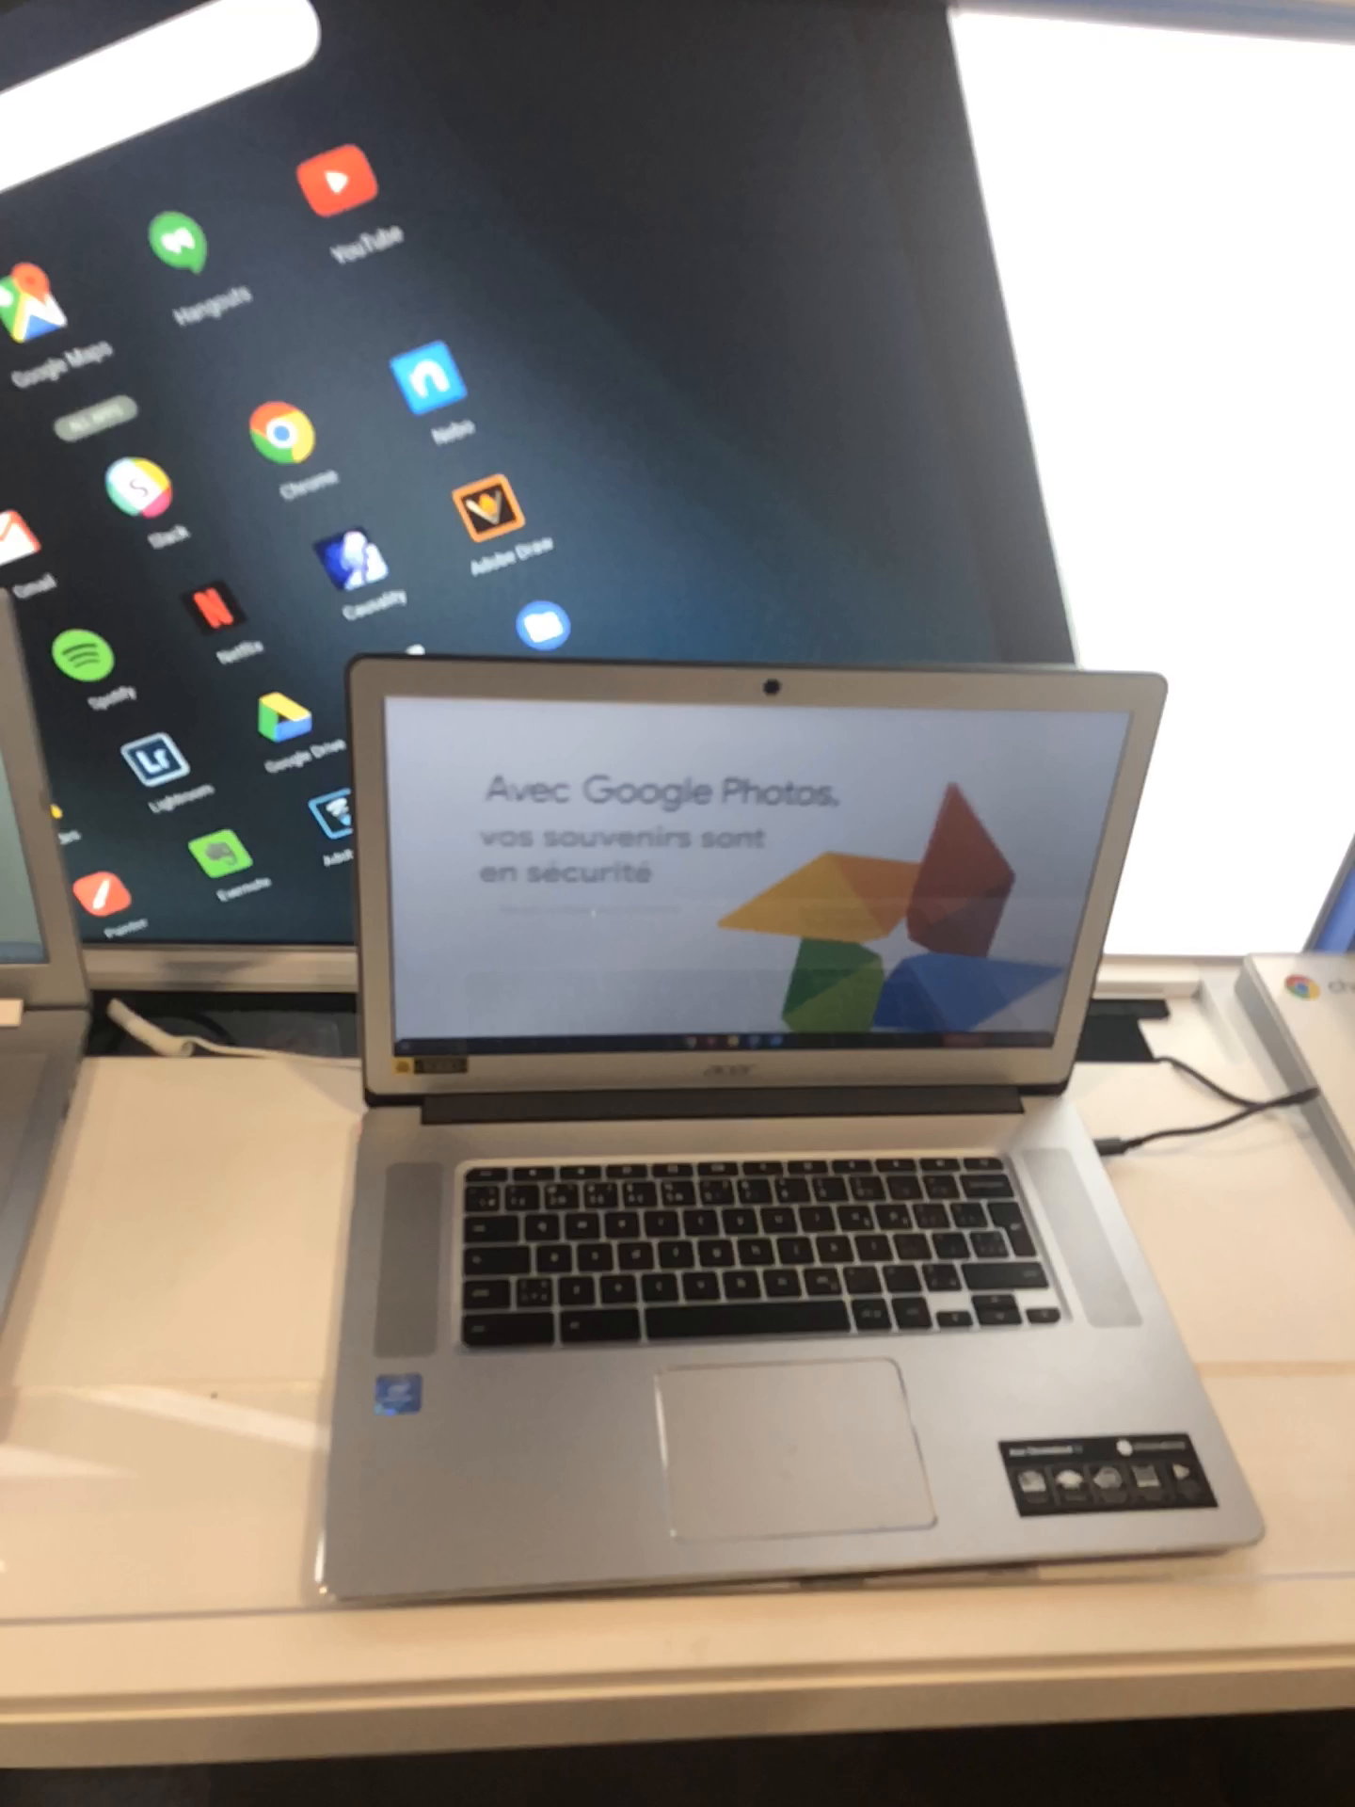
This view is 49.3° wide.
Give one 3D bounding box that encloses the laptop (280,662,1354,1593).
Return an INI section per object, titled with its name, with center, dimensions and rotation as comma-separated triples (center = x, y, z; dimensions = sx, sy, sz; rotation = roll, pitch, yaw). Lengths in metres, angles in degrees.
[laptop]
center = 0.044, 0.079, 0.625
dimensions = 0.371, 0.243, 0.283
rotation = 0, 38, -9
